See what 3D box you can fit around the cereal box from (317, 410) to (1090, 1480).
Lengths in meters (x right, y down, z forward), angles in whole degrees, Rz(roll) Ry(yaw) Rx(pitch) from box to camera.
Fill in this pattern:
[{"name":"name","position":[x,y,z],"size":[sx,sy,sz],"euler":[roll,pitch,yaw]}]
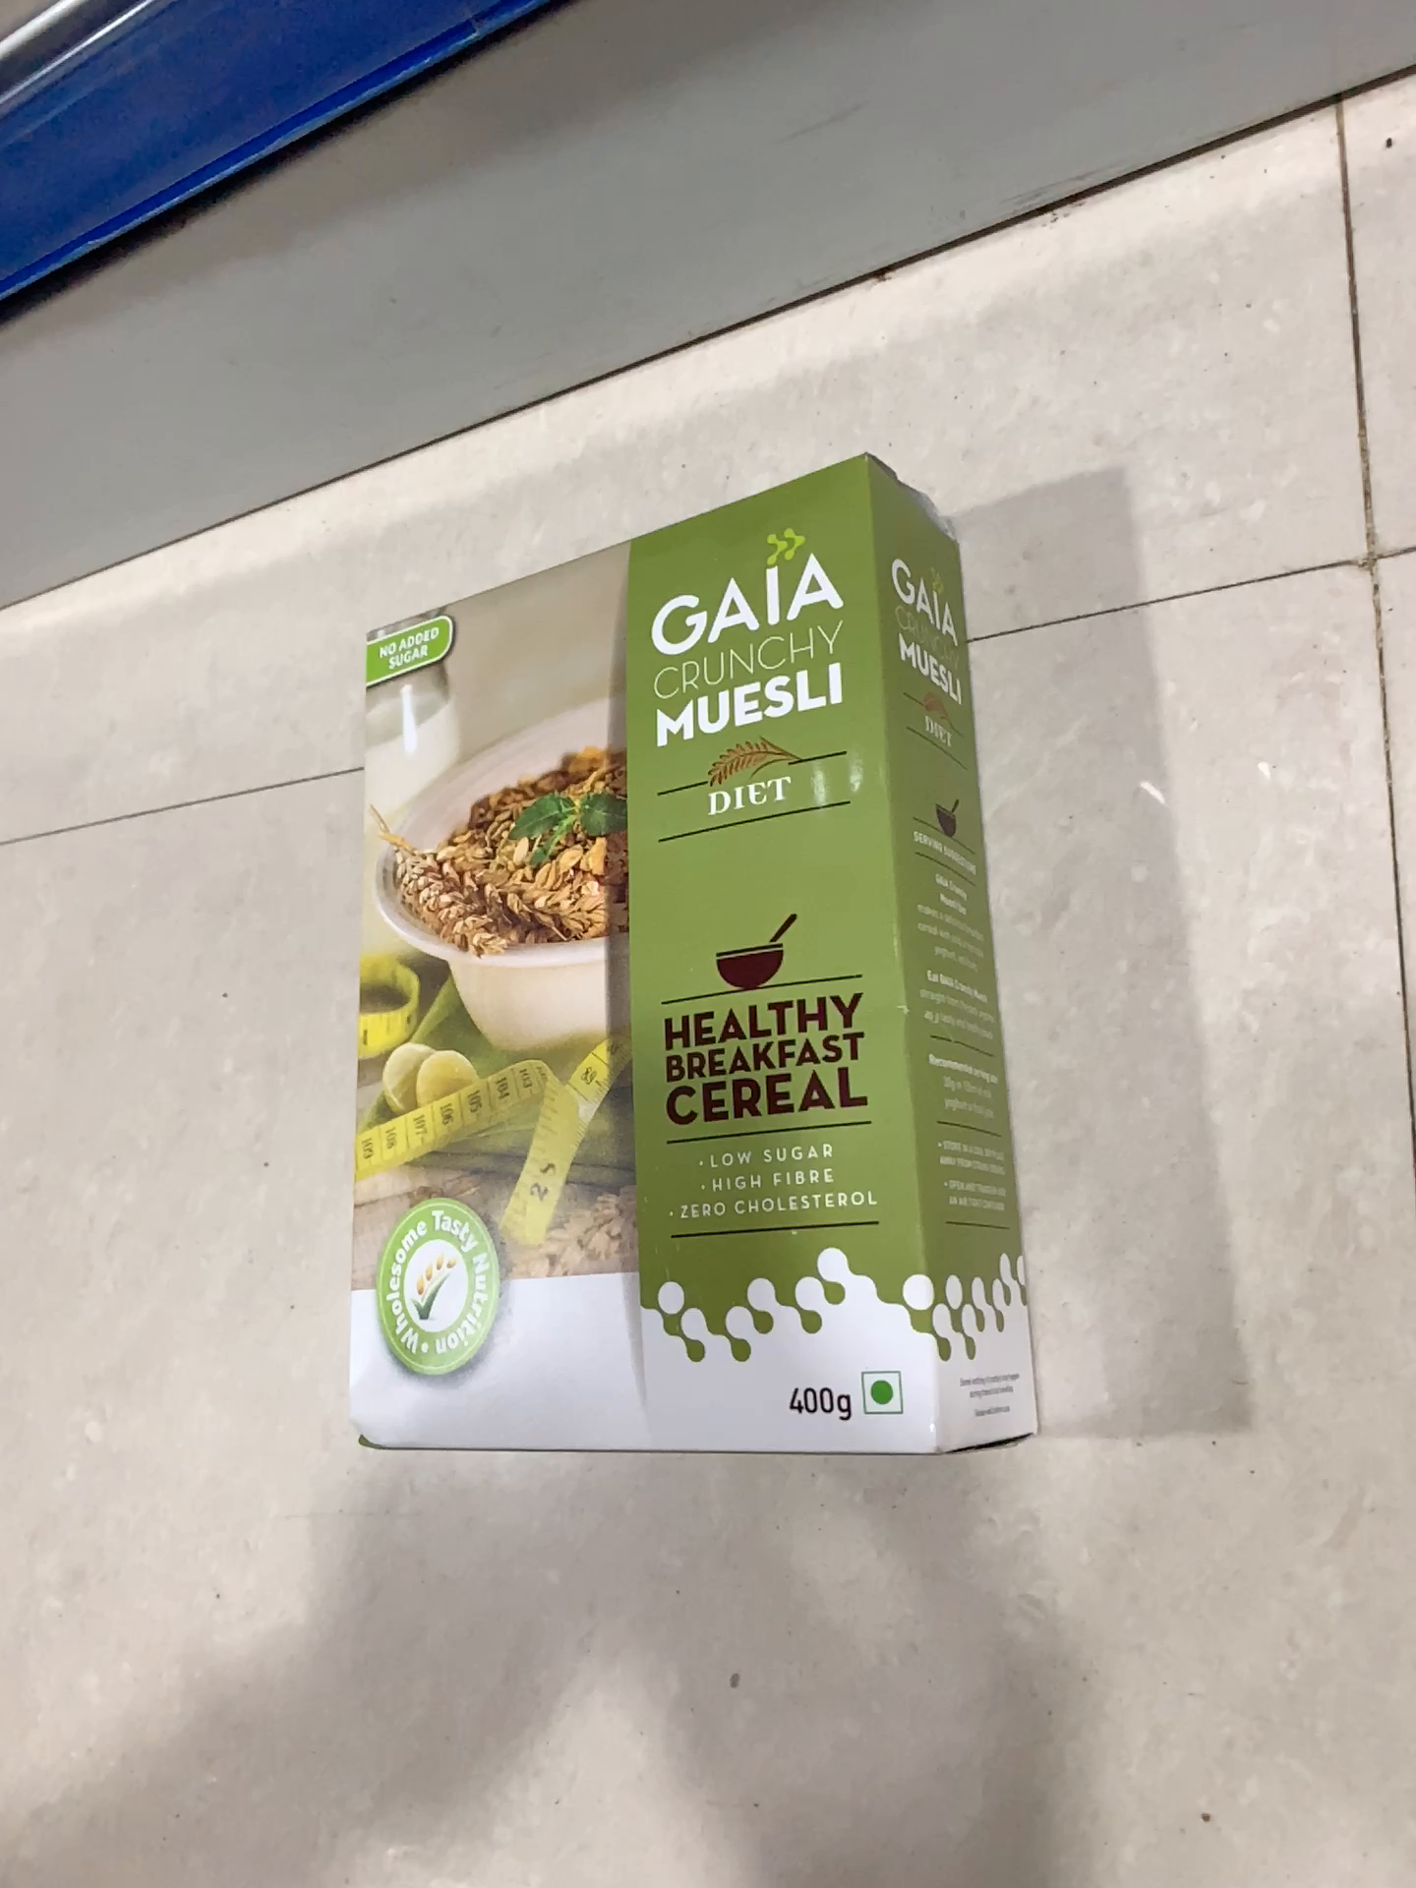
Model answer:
[{"name":"cereal box","position":[-0.010,0.010,0.381],"size":[0.181,0.070,0.230],"euler":[-10,74,33]}]
